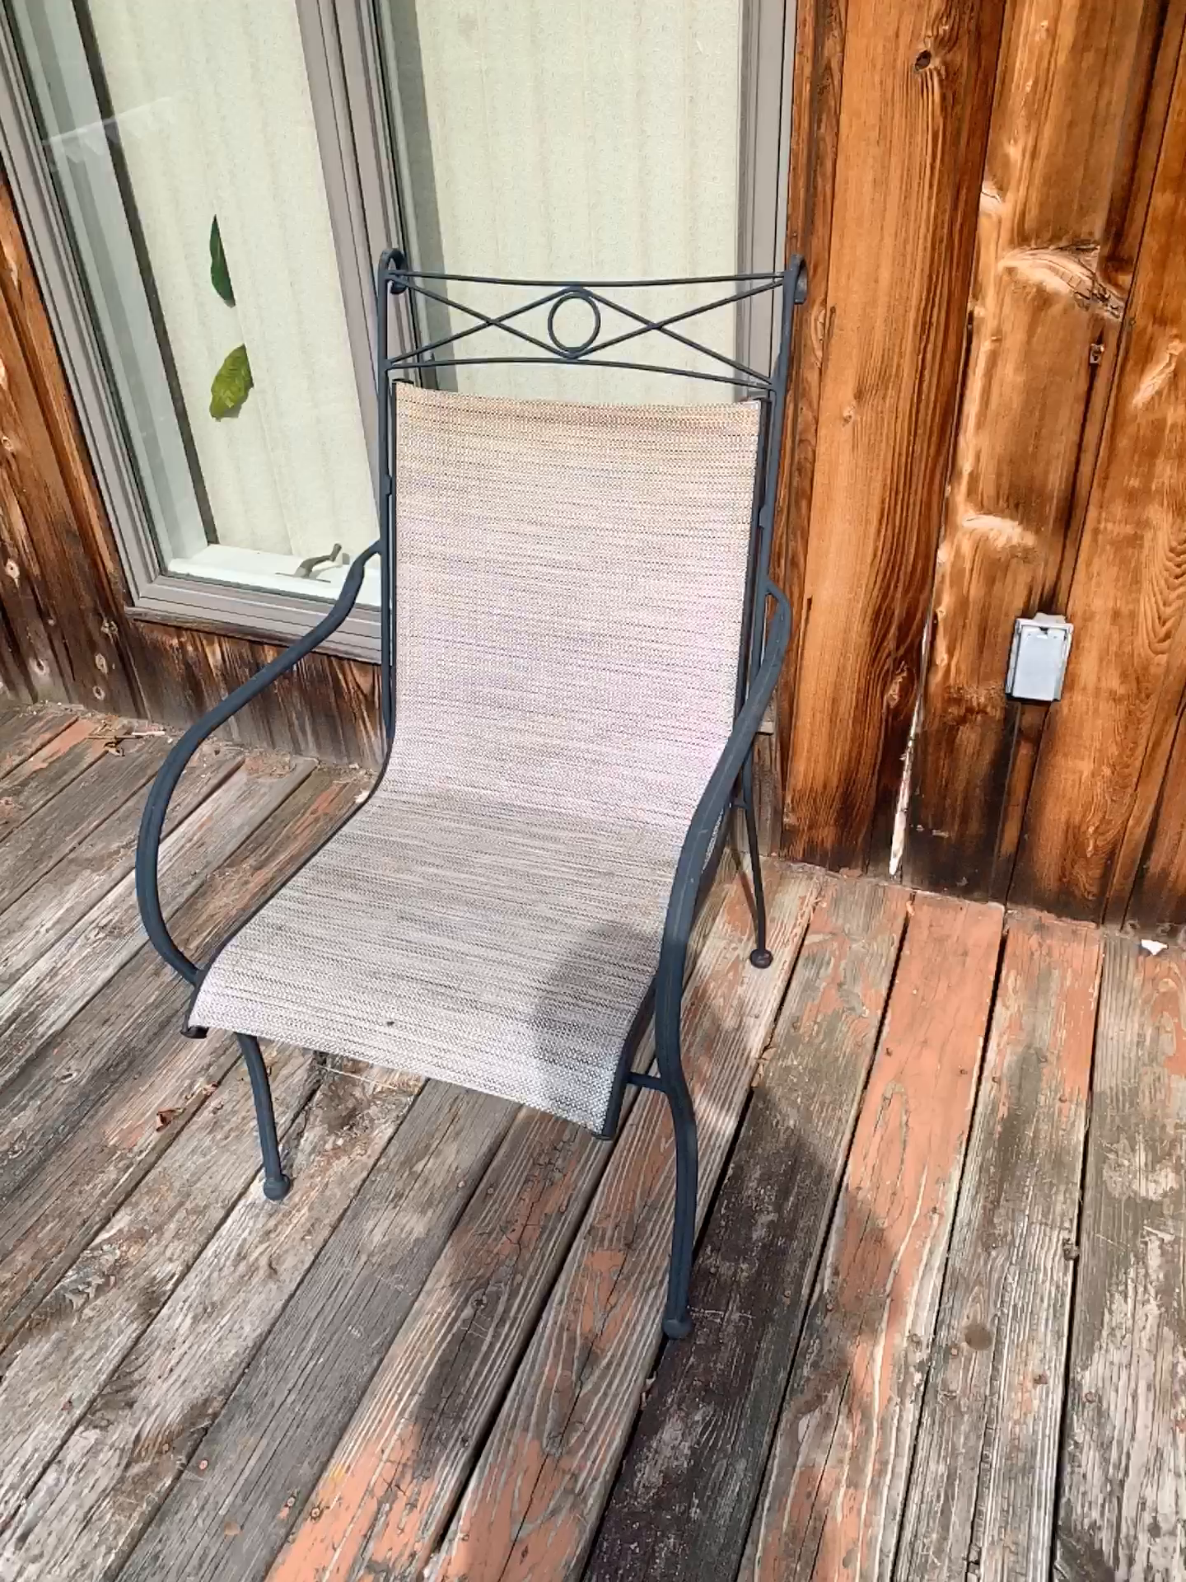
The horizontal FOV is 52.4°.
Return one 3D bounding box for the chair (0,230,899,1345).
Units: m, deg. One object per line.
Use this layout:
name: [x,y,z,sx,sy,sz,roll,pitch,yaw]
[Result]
chair: [-0.065,-0.035,1.334,0.610,0.944,0.653,10,37,17]
